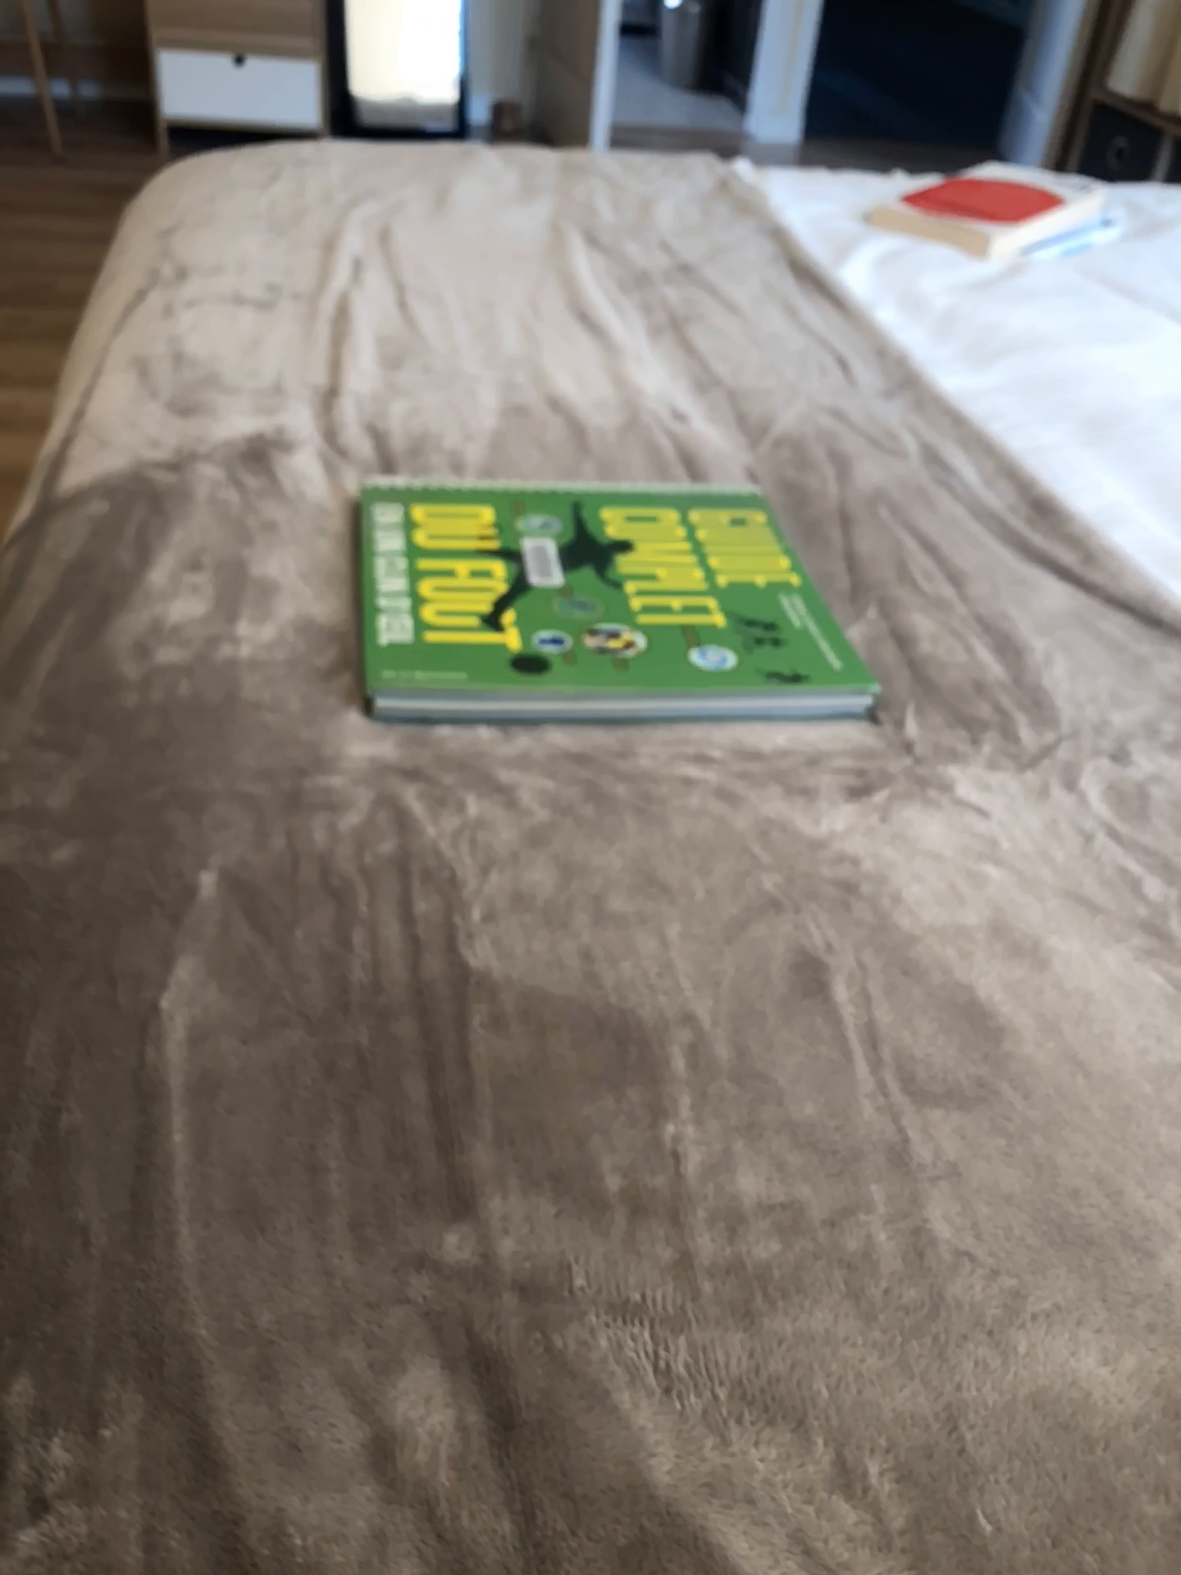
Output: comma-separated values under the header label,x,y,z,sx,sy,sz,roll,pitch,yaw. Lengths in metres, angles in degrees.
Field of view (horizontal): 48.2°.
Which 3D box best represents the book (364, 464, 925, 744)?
label,x,y,z,sx,sy,sz,roll,pitch,yaw
book,0.011,-0.099,0.650,0.238,0.018,0.229,-1,38,-10
